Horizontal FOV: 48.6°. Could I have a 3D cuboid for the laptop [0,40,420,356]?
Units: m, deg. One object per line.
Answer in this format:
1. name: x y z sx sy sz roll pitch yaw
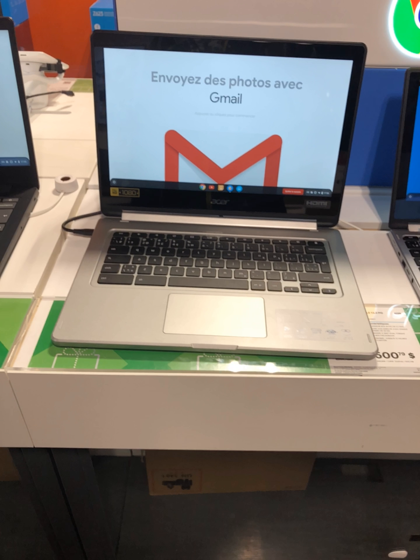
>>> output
1. laptop: 0.010 -0.094 0.480 0.317 0.226 0.240 3 38 0
